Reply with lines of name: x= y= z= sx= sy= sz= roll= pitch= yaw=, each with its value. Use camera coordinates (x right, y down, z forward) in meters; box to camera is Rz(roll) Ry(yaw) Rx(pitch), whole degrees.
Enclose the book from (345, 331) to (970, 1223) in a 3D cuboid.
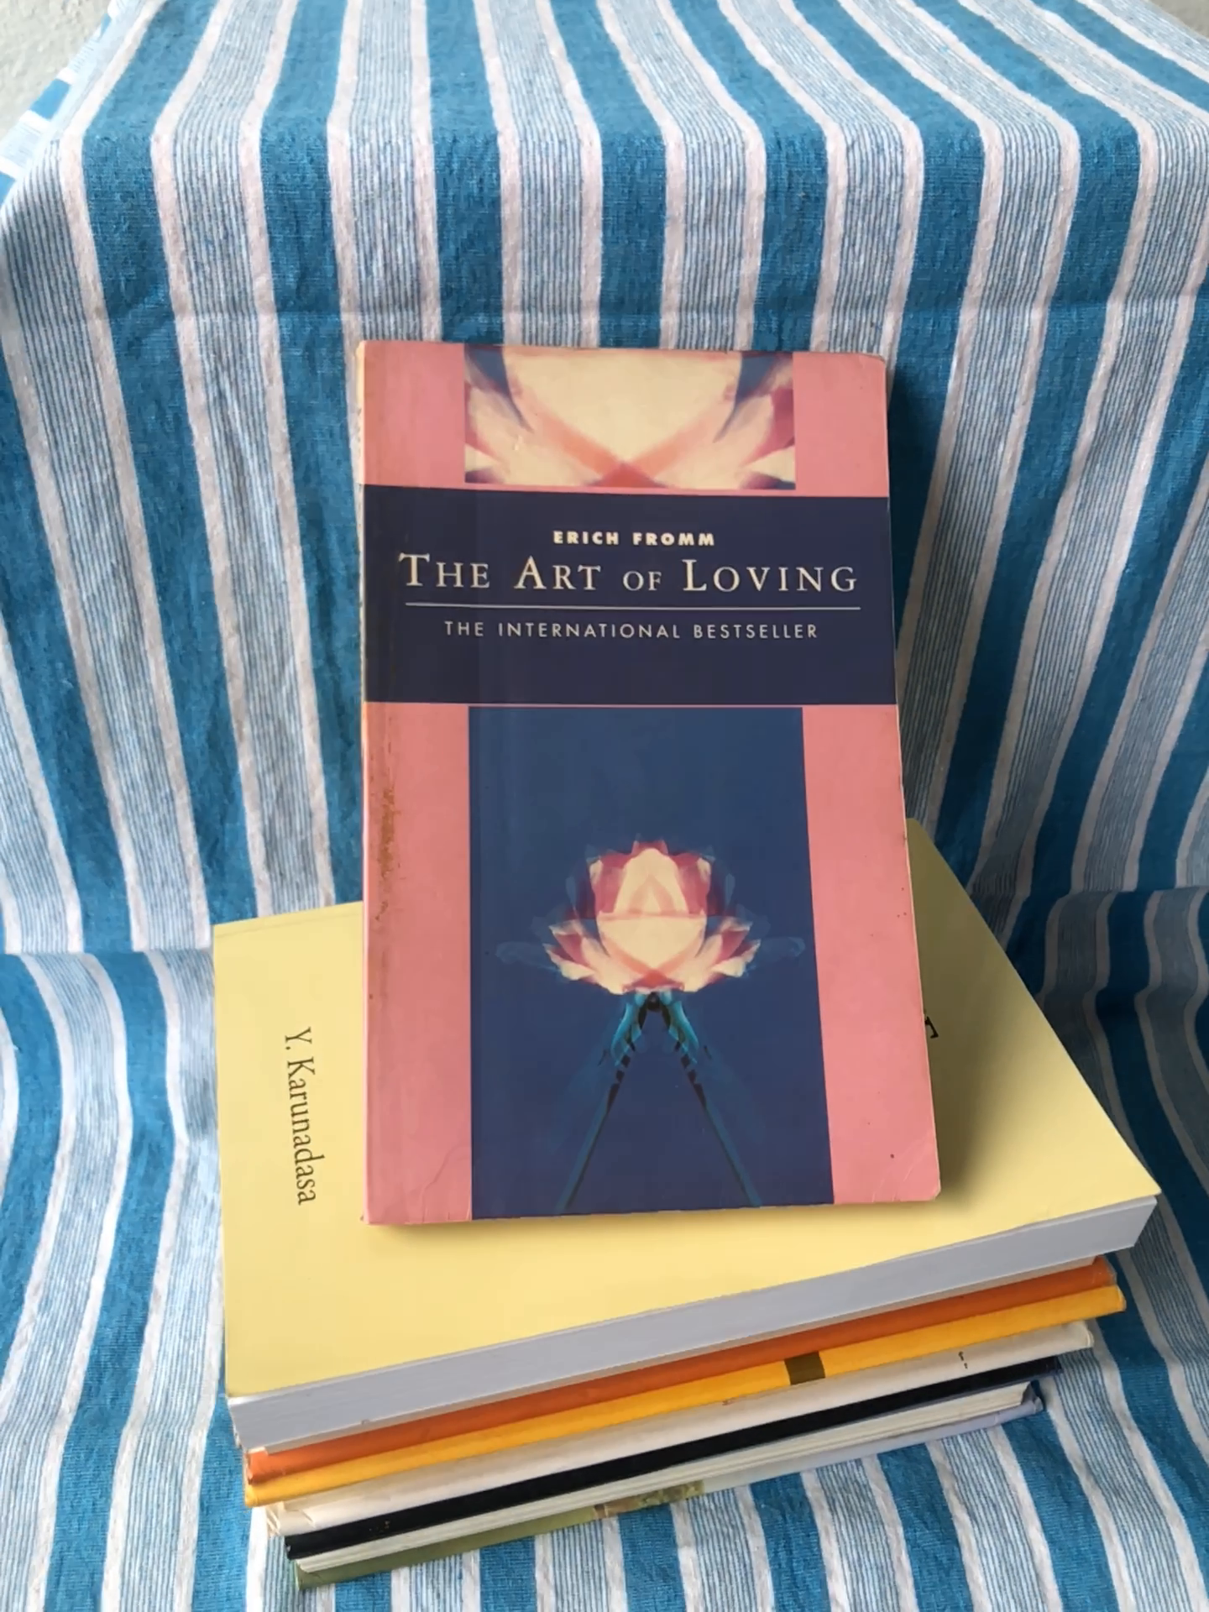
book: x=0.009 y=-0.011 z=0.299 sx=0.129 sy=0.015 sz=0.193 roll=-1 pitch=83 yaw=-4
